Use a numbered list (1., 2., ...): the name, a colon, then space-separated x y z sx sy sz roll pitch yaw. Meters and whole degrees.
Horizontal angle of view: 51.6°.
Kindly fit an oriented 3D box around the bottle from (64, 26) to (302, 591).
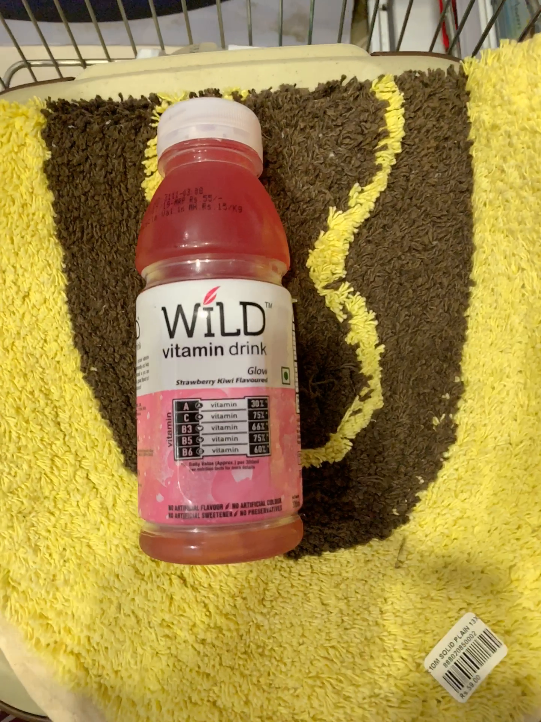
1. bottle: -0.024 -0.014 0.187 0.060 0.050 0.160 -3 91 2
